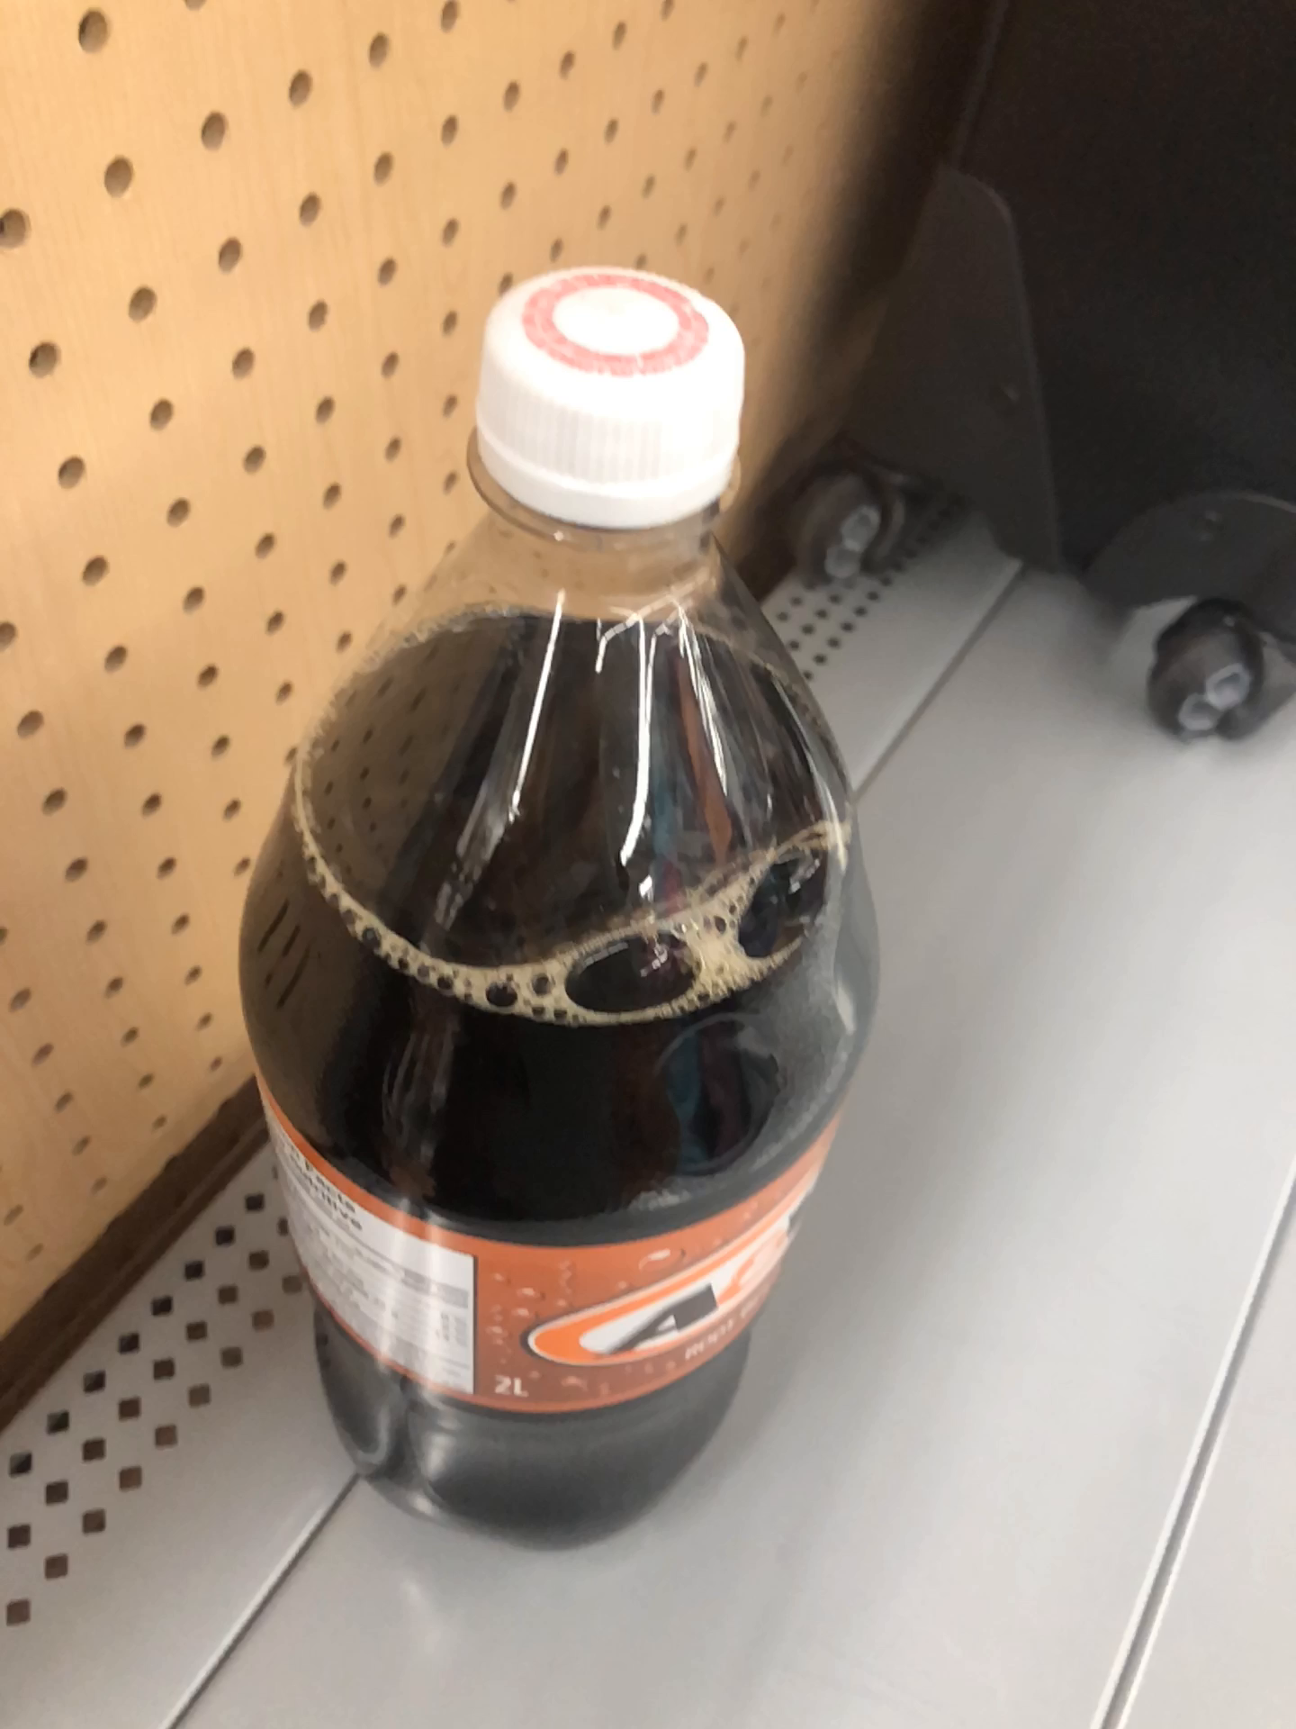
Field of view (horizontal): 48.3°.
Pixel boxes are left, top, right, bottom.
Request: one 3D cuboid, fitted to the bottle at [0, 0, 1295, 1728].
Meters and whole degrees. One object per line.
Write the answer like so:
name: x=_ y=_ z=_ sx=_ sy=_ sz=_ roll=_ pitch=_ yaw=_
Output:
bottle: x=-0.014 y=0.038 z=0.270 sx=0.120 sy=0.308 sz=0.120 roll=4 pitch=51 yaw=-4
